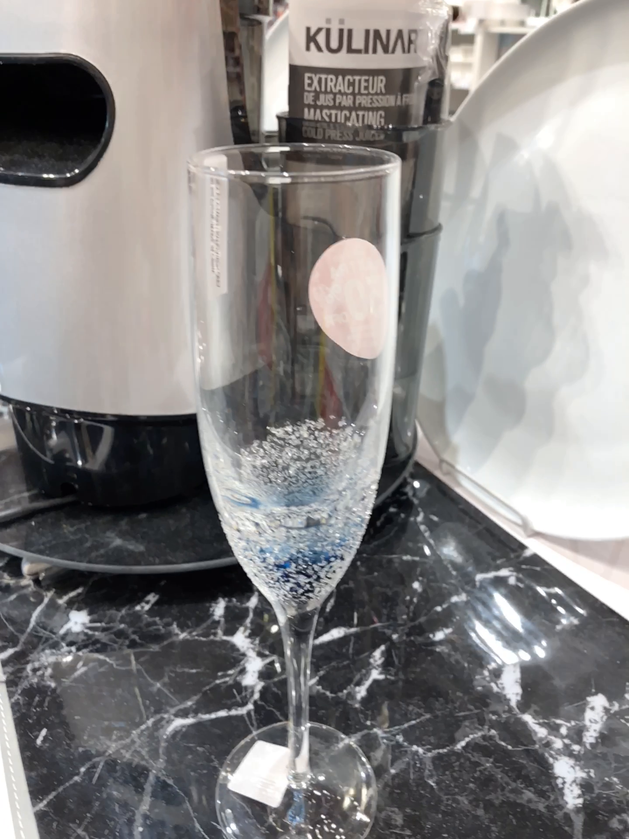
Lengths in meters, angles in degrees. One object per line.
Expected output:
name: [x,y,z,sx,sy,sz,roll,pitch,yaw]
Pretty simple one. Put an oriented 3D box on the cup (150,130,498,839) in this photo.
cup: [-0.004,0.043,0.232,0.070,0.249,0.070,0,27,0]
